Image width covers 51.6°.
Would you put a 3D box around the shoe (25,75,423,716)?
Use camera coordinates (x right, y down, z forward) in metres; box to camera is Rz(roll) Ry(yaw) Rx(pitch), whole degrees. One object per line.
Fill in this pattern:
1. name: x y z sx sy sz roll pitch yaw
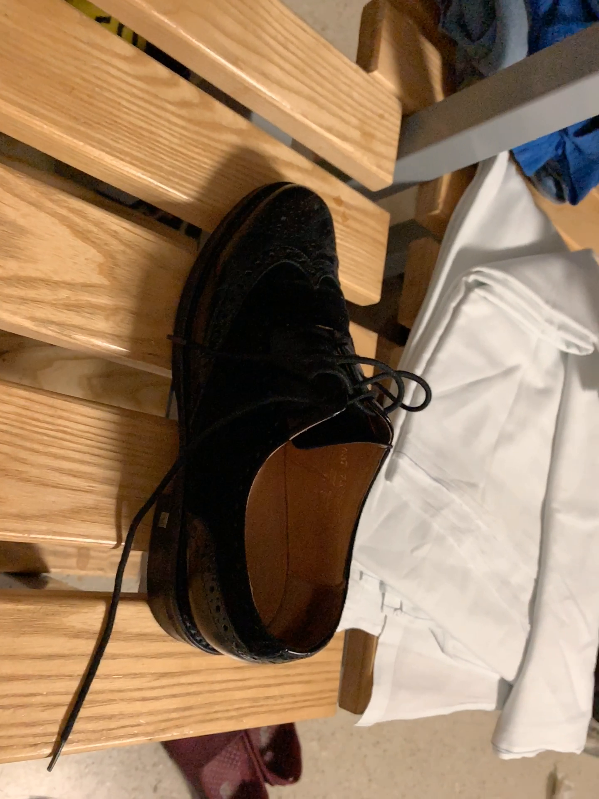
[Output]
1. shoe: -0.028 0.000 0.296 0.100 0.095 0.251 23 72 -38
